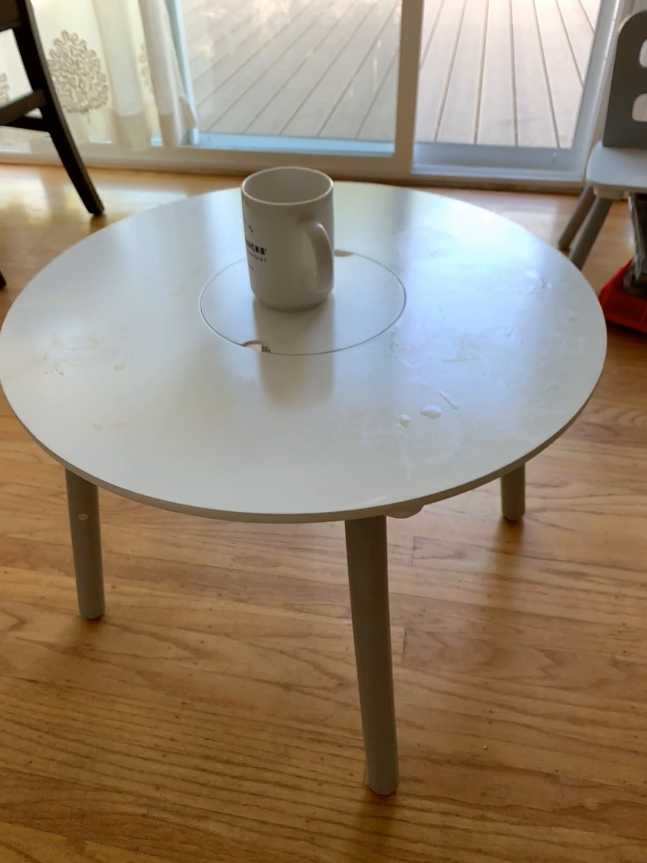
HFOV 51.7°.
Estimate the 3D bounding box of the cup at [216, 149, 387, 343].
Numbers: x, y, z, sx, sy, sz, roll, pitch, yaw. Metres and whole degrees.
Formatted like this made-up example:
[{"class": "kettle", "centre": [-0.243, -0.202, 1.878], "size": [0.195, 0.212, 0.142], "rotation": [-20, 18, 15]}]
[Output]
[{"class": "cup", "centre": [-0.022, -0.175, 0.615], "size": [0.090, 0.109, 0.141], "rotation": [-23, 46, -22]}]
